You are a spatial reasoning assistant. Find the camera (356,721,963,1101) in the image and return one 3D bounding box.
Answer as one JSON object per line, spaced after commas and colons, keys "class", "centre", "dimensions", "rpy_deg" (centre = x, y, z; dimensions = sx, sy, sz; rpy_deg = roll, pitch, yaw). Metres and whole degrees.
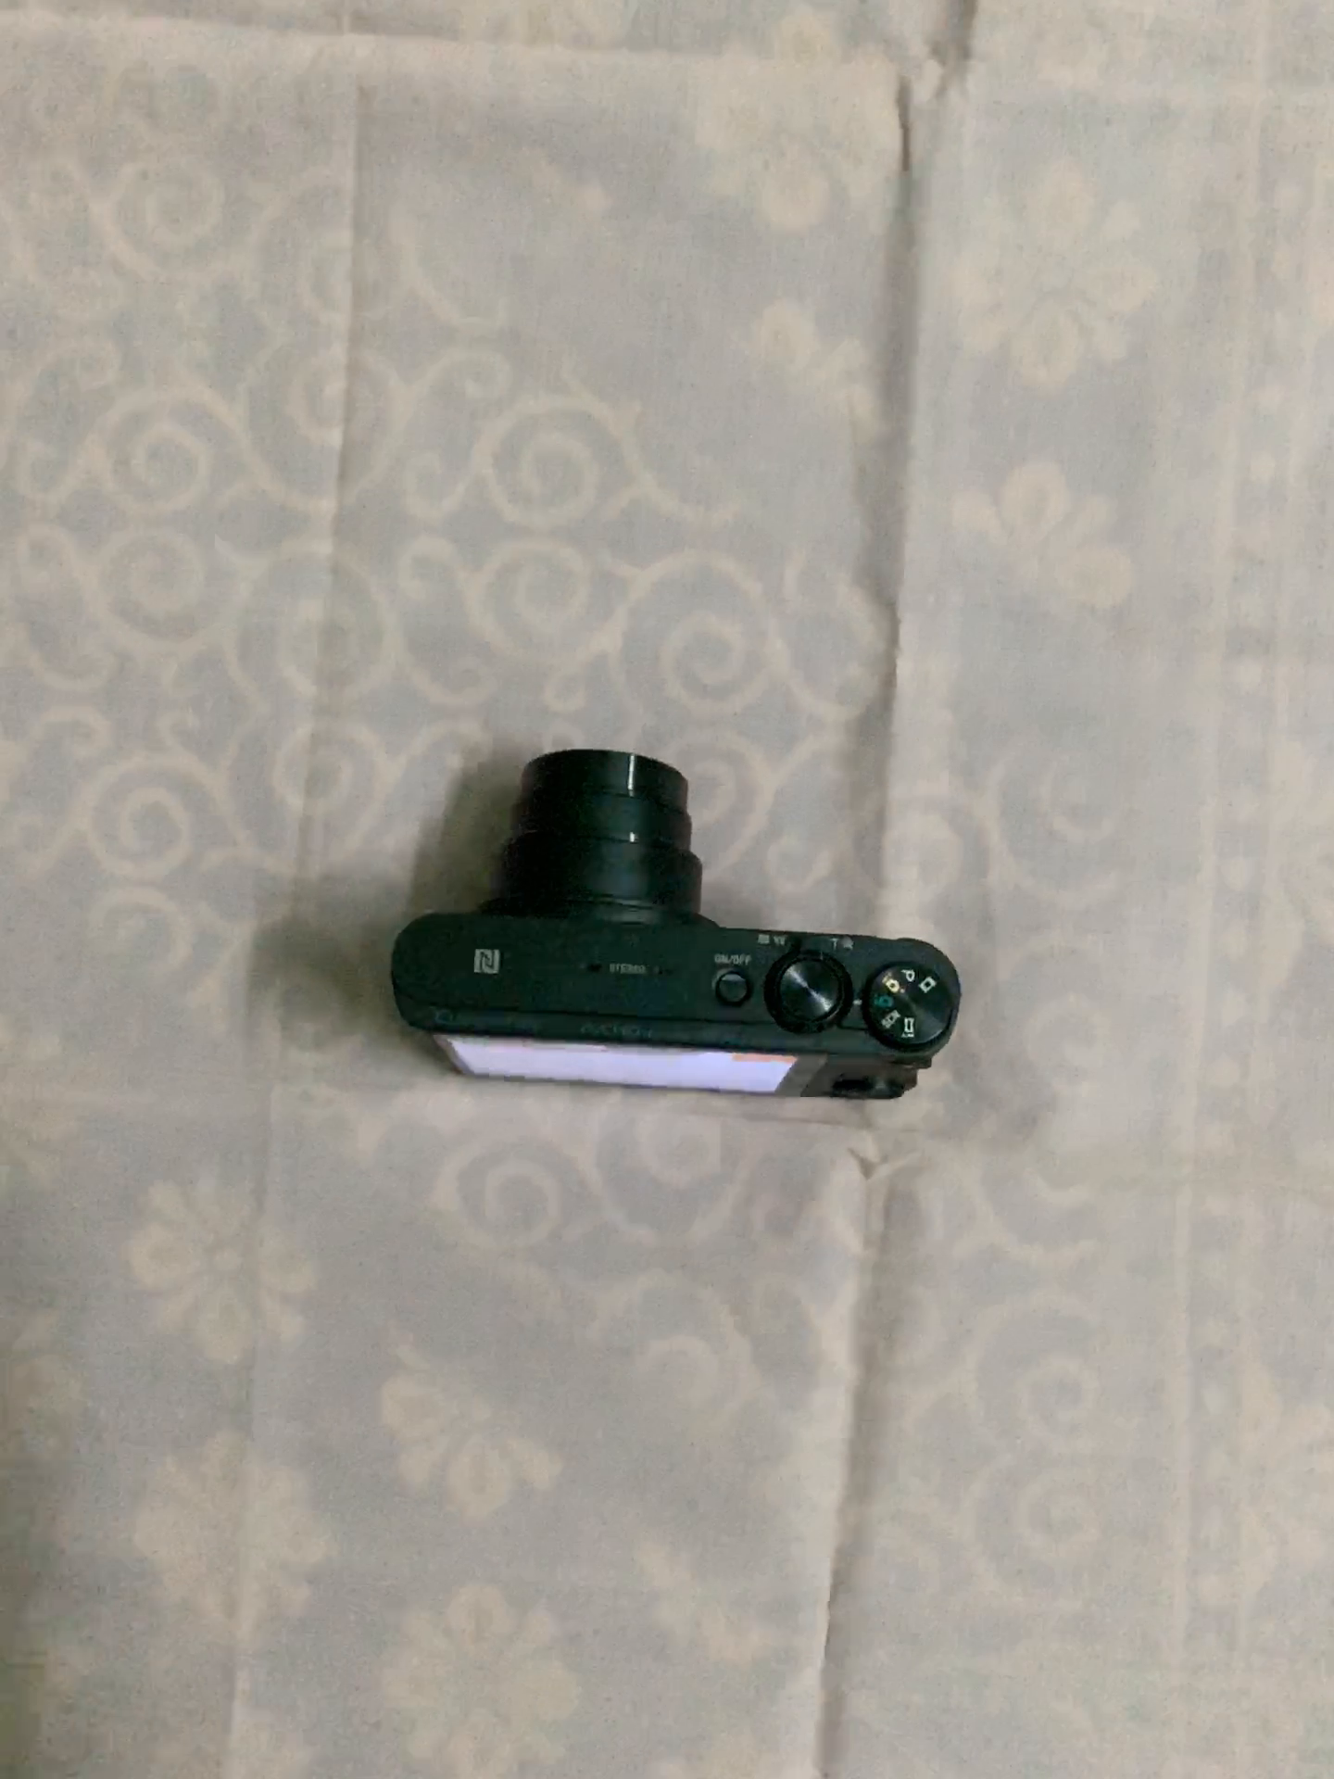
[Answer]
{"class": "camera", "centre": [0.000, 0.007, 0.264], "dimensions": [0.100, 0.060, 0.058], "rpy_deg": [3, 80, 0]}
